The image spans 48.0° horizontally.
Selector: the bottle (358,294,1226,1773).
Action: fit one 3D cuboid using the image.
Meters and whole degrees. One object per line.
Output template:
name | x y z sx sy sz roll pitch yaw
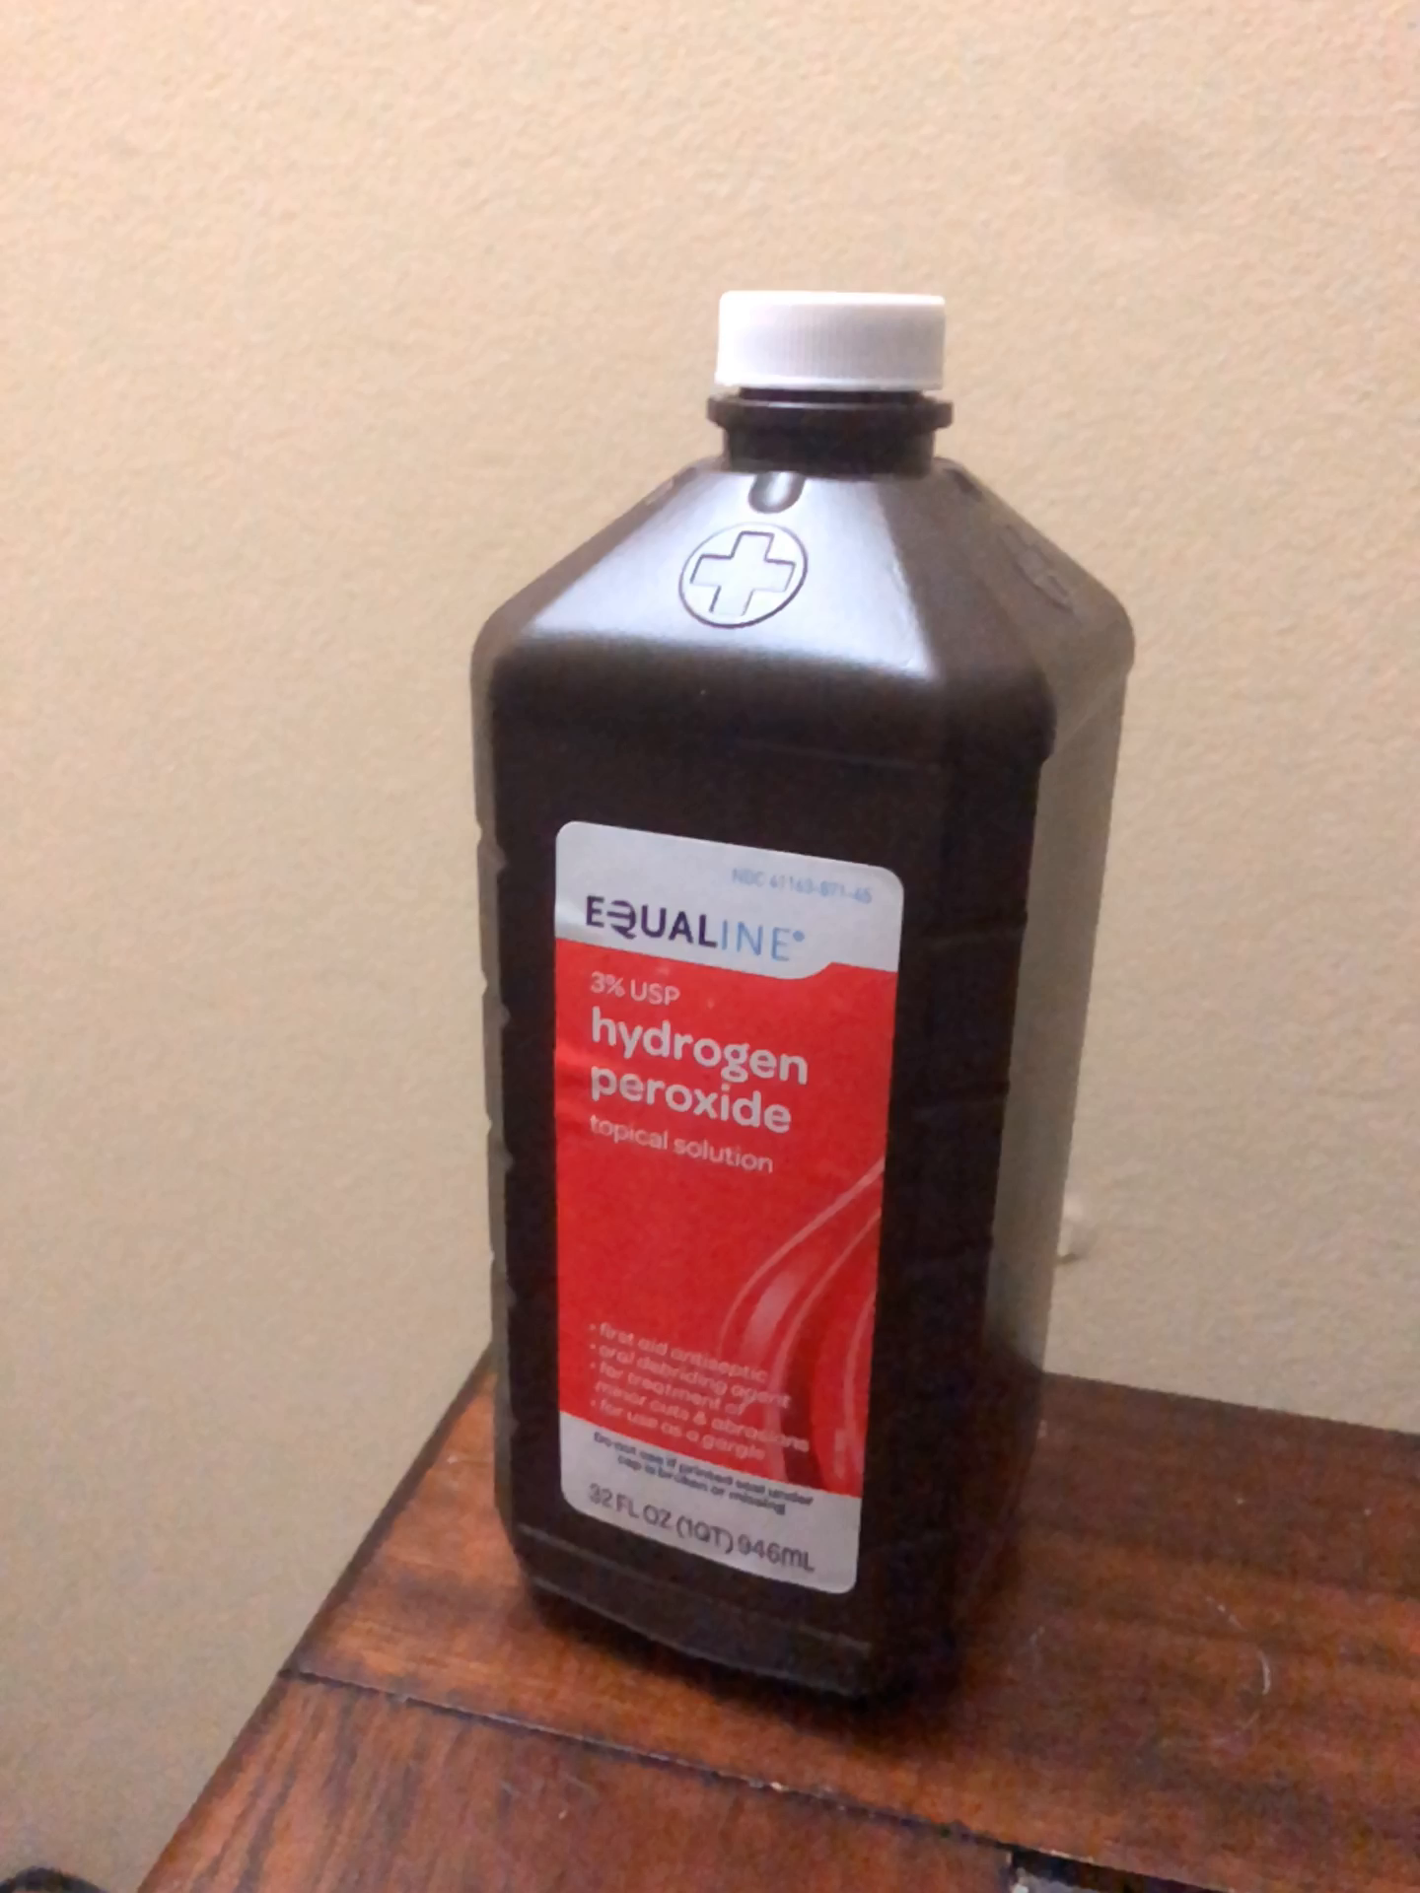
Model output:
bottle | 0.013 0.006 0.239 0.090 0.190 0.080 10 22 21
